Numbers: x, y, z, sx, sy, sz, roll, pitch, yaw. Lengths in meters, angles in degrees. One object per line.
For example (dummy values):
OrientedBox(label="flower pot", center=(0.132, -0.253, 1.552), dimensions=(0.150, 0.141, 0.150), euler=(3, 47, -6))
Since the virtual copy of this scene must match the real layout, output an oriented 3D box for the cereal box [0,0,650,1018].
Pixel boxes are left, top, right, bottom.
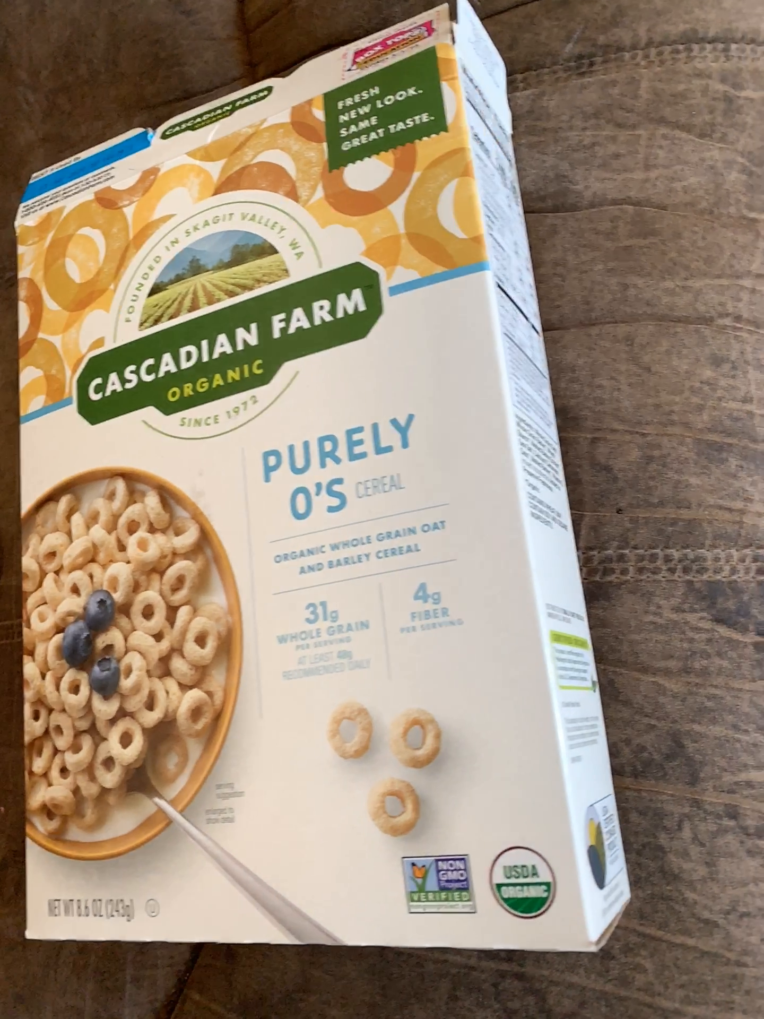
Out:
OrientedBox(label="cereal box", center=(-0.046, -0.006, 0.257), dimensions=(0.200, 0.070, 0.280), euler=(-12, 69, 22))
